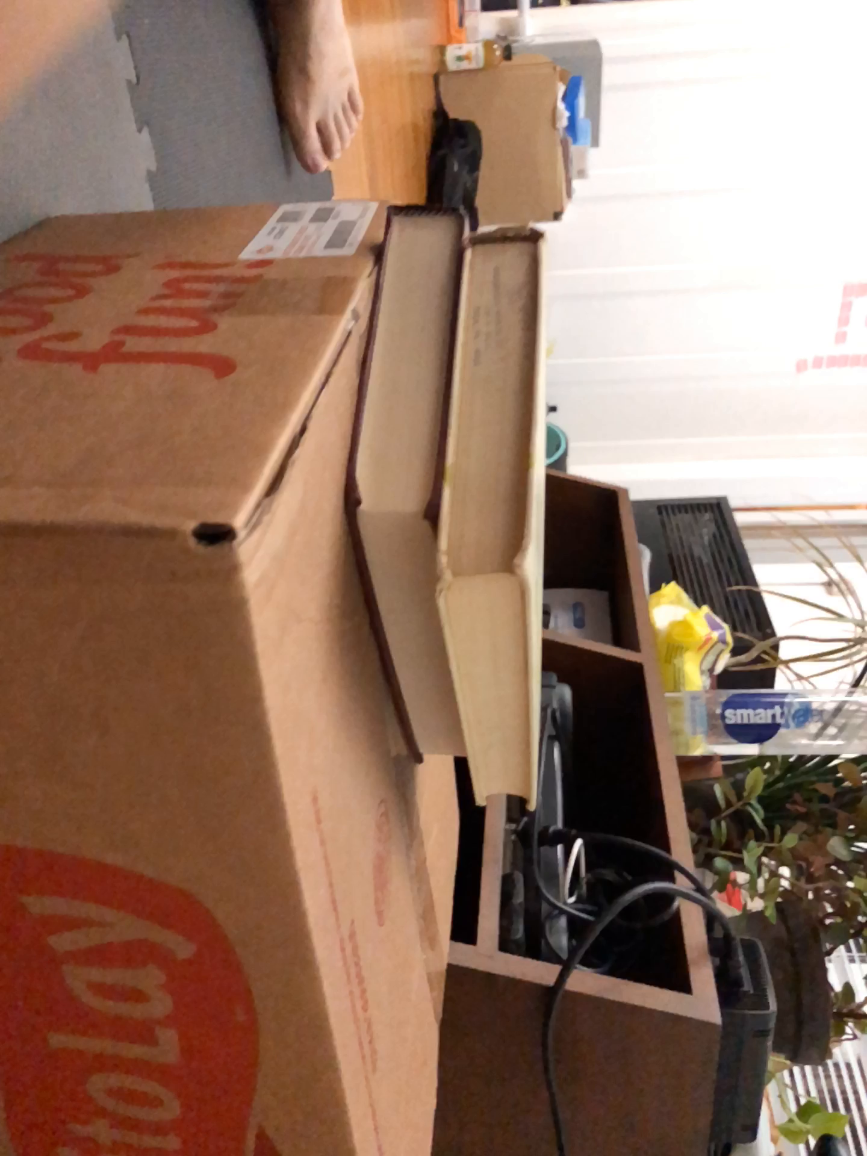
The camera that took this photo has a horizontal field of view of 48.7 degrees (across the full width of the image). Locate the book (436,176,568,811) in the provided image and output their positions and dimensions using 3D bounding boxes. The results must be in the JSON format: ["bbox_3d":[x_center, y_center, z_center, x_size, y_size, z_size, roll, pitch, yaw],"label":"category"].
[{"bbox_3d":[0.034,-0.019,0.444,0.250,0.040,0.180,82,10,-59],"label":"book"}]

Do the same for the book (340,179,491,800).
[{"bbox_3d":[0.003,-0.025,0.461,0.250,0.040,0.180,83,9,-56],"label":"book"}]
